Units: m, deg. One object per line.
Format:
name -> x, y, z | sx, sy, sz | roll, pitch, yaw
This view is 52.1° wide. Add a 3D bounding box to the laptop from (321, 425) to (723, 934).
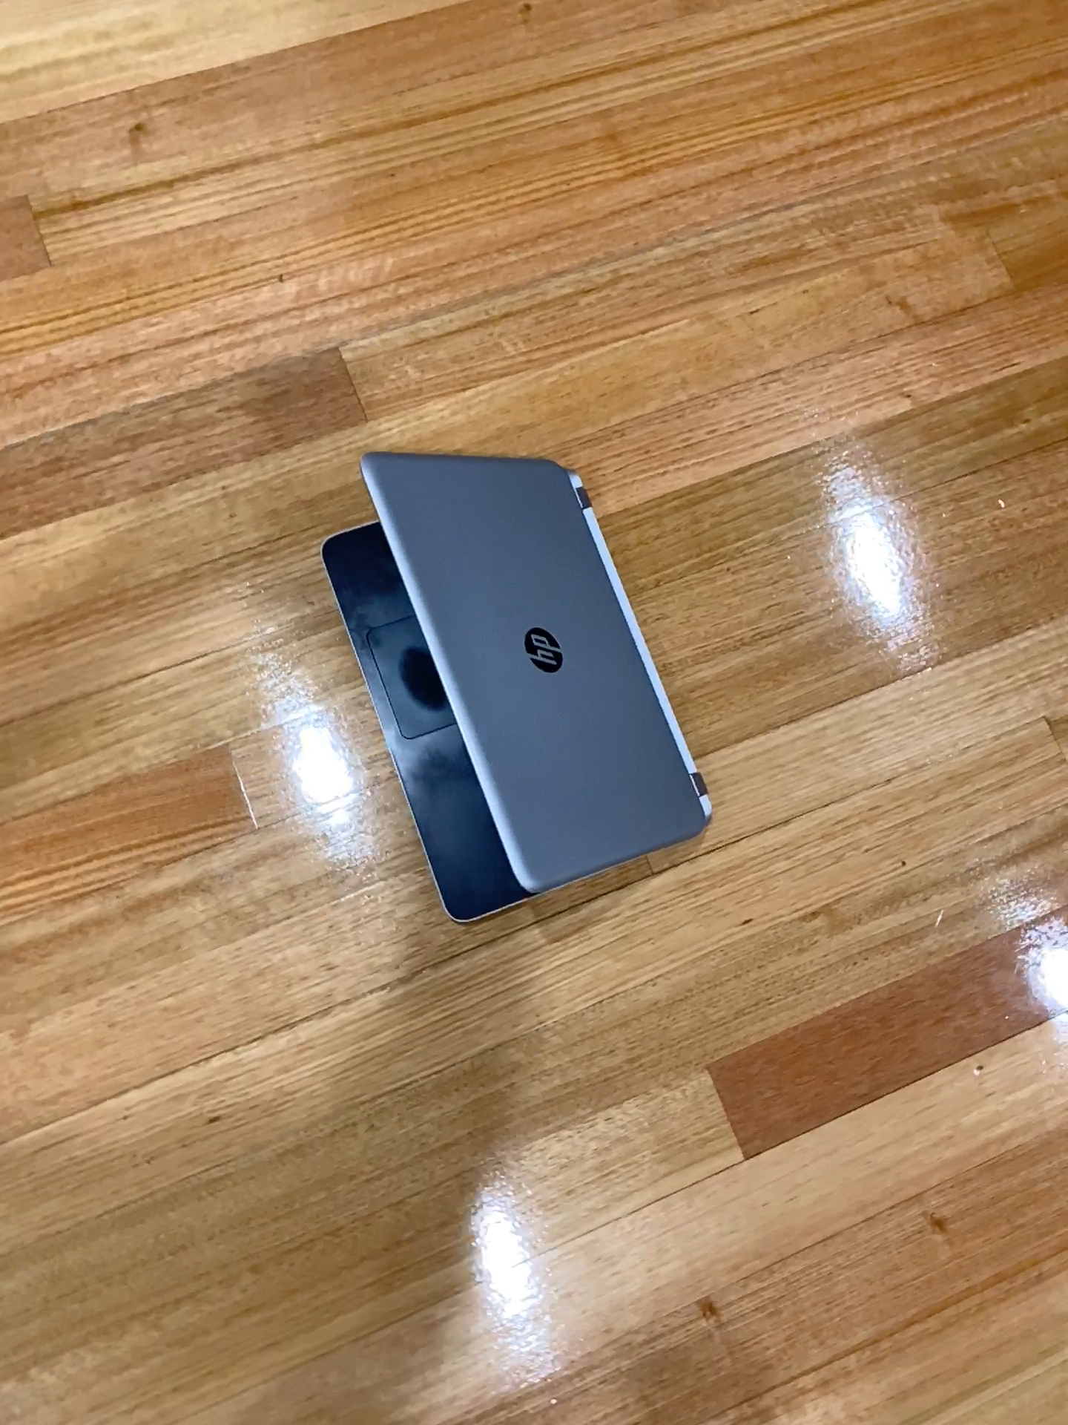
laptop -> -0.015, -0.026, 0.865 | 0.209, 0.103, 0.332 | -18, 79, -10
